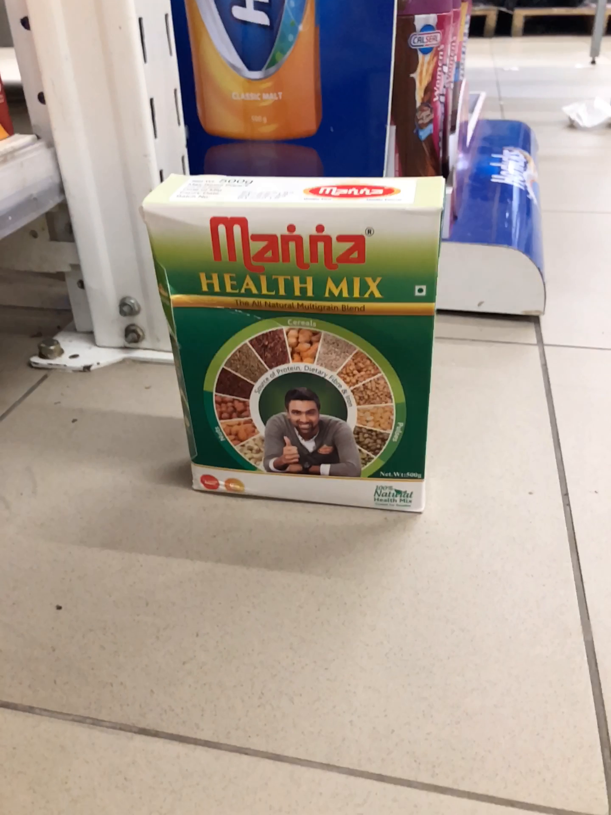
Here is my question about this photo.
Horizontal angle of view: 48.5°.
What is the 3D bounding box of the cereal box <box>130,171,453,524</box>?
[{"bbox_3d":[-0.003,-0.029,0.381,0.150,0.189,0.050,3,32,8],"label":"cereal box"}]
